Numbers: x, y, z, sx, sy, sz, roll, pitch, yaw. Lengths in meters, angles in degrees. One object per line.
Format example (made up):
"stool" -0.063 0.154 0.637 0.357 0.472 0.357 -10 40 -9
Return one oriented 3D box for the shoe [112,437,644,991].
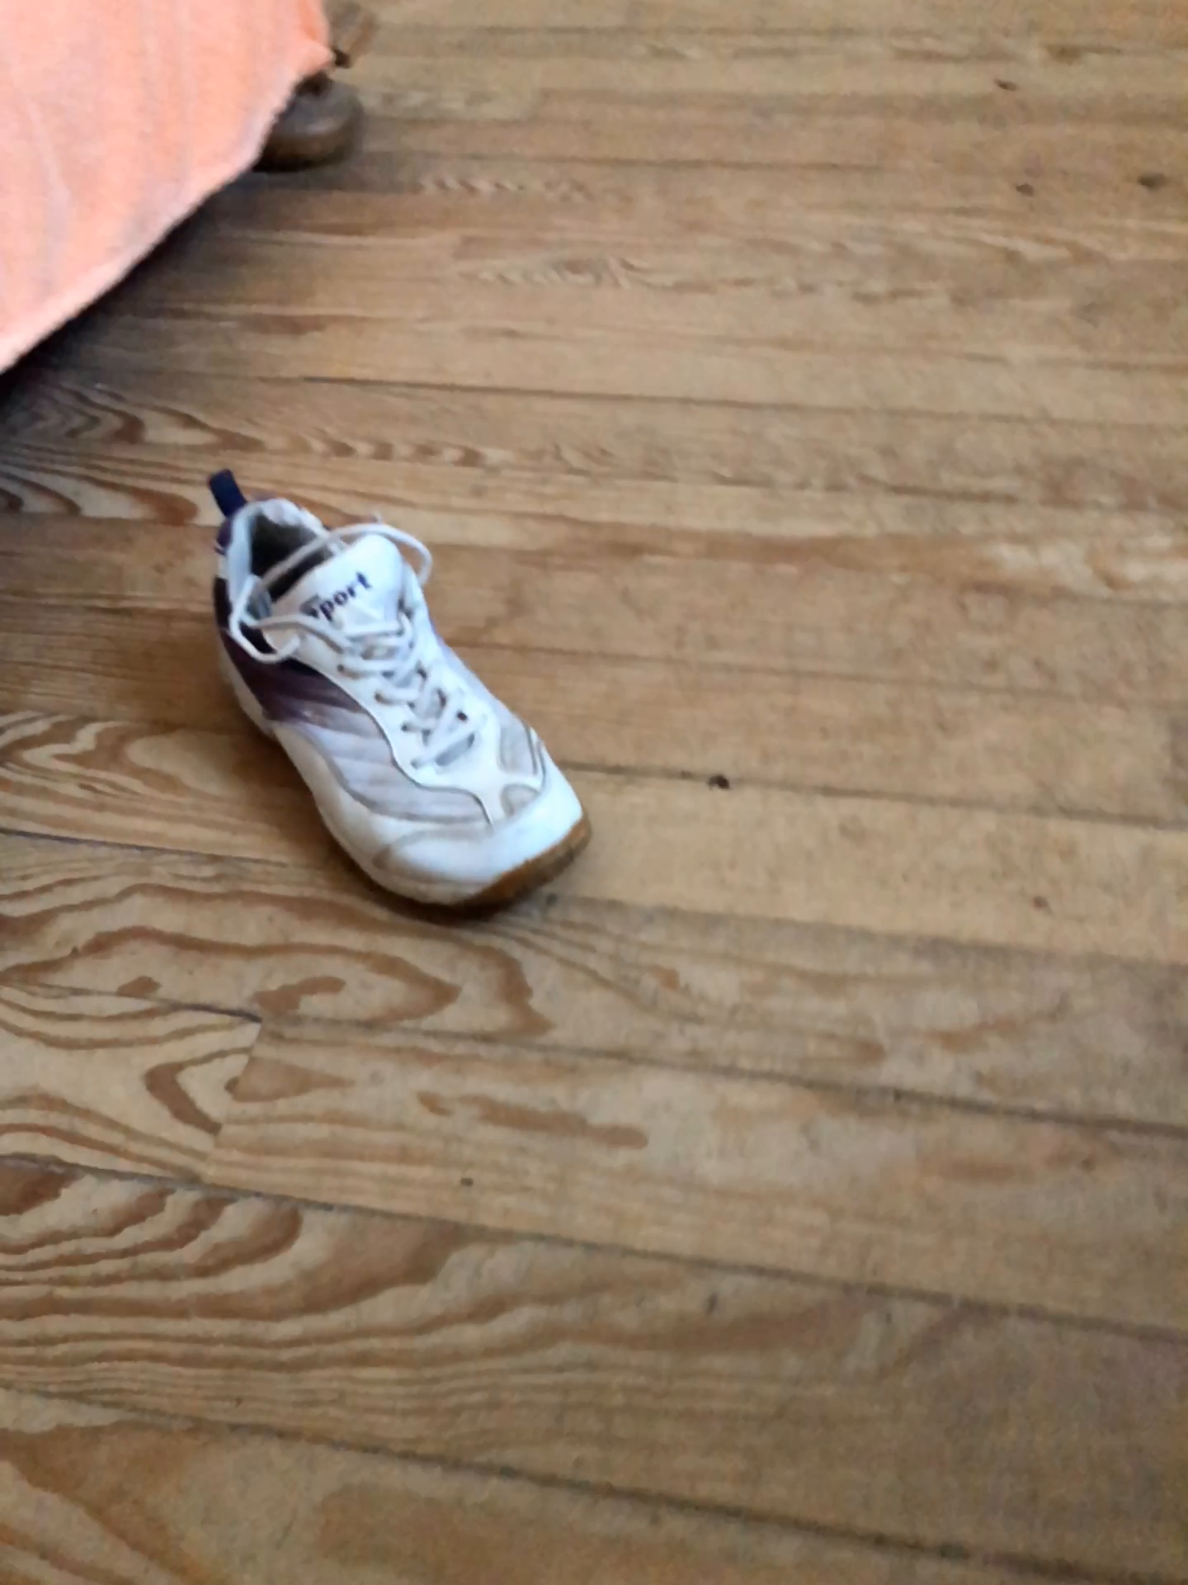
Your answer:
"shoe" -0.104 -0.048 0.625 0.110 0.100 0.260 -34 56 -23
